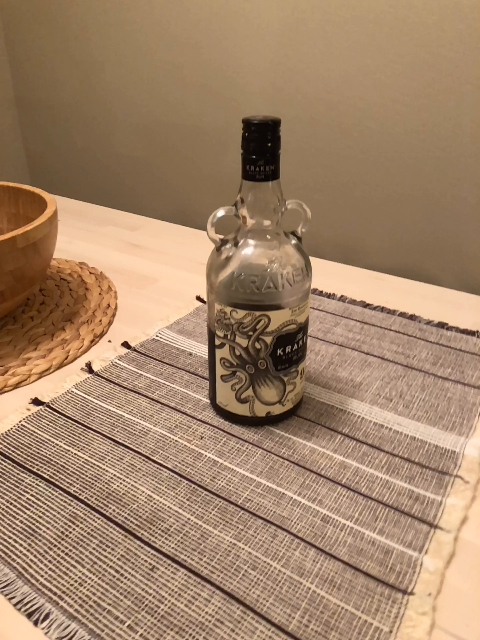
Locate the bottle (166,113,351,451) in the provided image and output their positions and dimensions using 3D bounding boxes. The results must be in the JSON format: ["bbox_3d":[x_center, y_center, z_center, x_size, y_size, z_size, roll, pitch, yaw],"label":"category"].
[{"bbox_3d":[0.009,-0.033,0.442,0.100,0.249,0.100,0,28,0],"label":"bottle"}]
